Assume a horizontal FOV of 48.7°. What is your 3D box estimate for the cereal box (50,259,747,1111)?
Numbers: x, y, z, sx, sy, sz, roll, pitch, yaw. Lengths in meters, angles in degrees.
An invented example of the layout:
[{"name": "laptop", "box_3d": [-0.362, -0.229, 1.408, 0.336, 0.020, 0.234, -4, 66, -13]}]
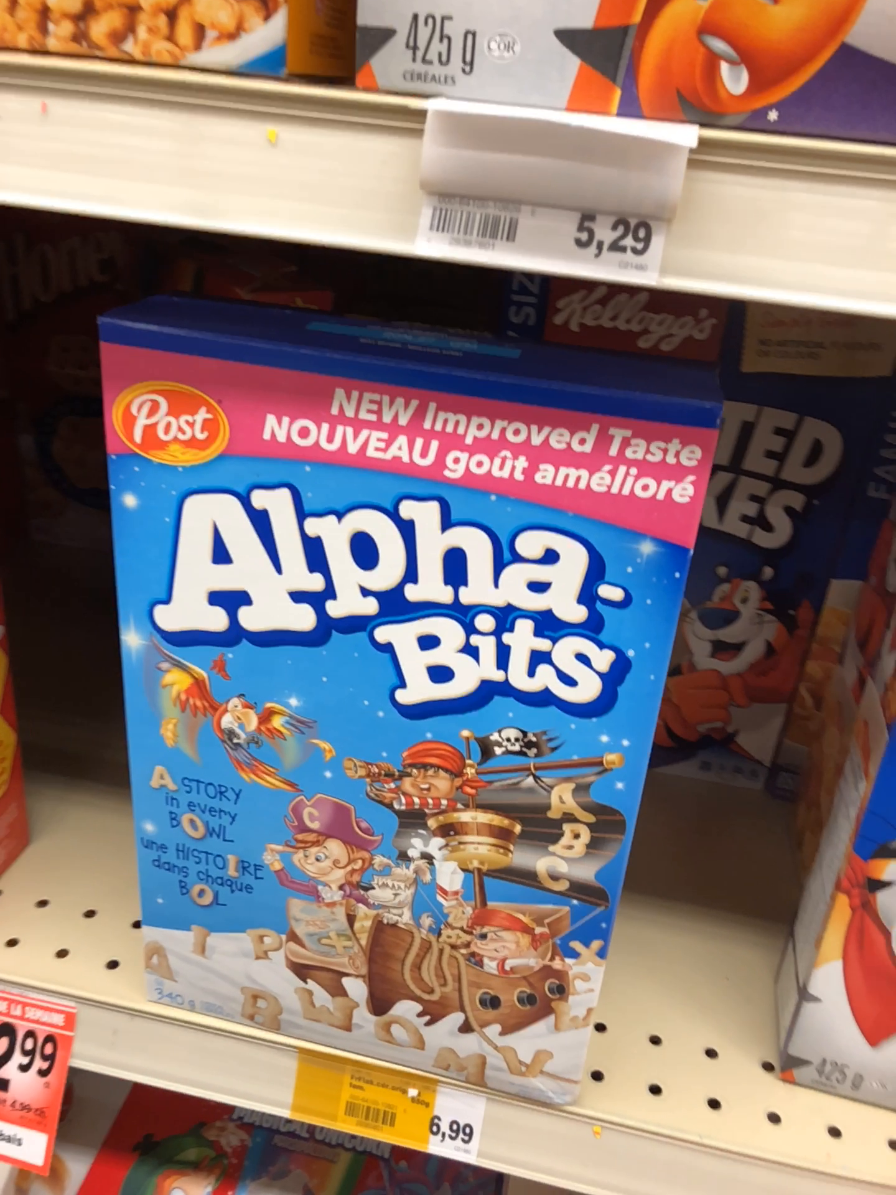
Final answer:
[{"name": "cereal box", "box_3d": [-0.025, 0.046, 0.371, 0.200, 0.298, 0.060, 11, 29, 9]}]
